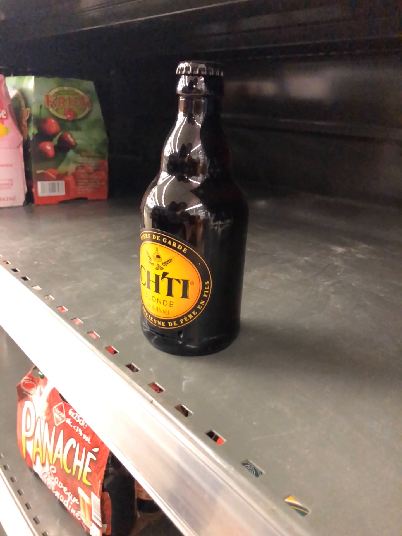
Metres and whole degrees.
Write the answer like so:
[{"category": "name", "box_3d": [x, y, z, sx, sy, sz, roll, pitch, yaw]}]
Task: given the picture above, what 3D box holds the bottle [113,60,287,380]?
[{"category": "bottle", "box_3d": [-0.003, -0.032, 0.278, 0.070, 0.169, 0.070, 2, 19, -1]}]
